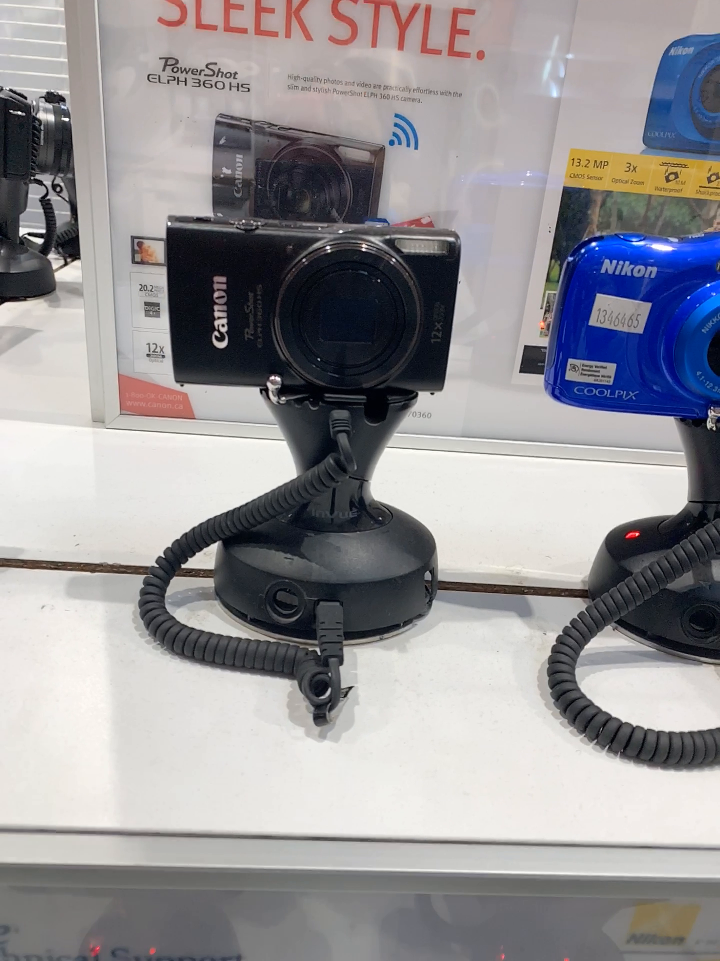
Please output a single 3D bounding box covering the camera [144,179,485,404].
[{"bbox_3d":[-0.017,-0.063,0.248,0.100,0.060,0.040,1,25,-9],"label":"camera"}]
